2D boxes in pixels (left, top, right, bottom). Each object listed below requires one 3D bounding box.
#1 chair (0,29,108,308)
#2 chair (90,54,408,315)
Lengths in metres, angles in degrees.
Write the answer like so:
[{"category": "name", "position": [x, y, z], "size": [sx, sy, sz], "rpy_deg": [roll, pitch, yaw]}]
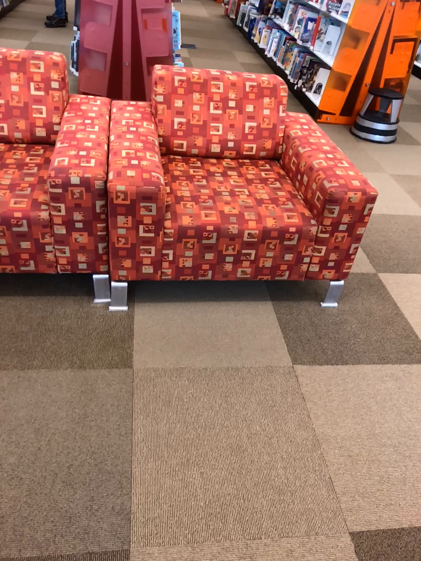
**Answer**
[{"category": "chair", "position": [-0.904, -0.479, 1.860], "size": [0.919, 0.716, 0.956], "rpy_deg": [0, 38, -11]}, {"category": "chair", "position": [0.039, -0.447, 2.001], "size": [1.003, 0.686, 0.996], "rpy_deg": [0, 38, -11]}]
